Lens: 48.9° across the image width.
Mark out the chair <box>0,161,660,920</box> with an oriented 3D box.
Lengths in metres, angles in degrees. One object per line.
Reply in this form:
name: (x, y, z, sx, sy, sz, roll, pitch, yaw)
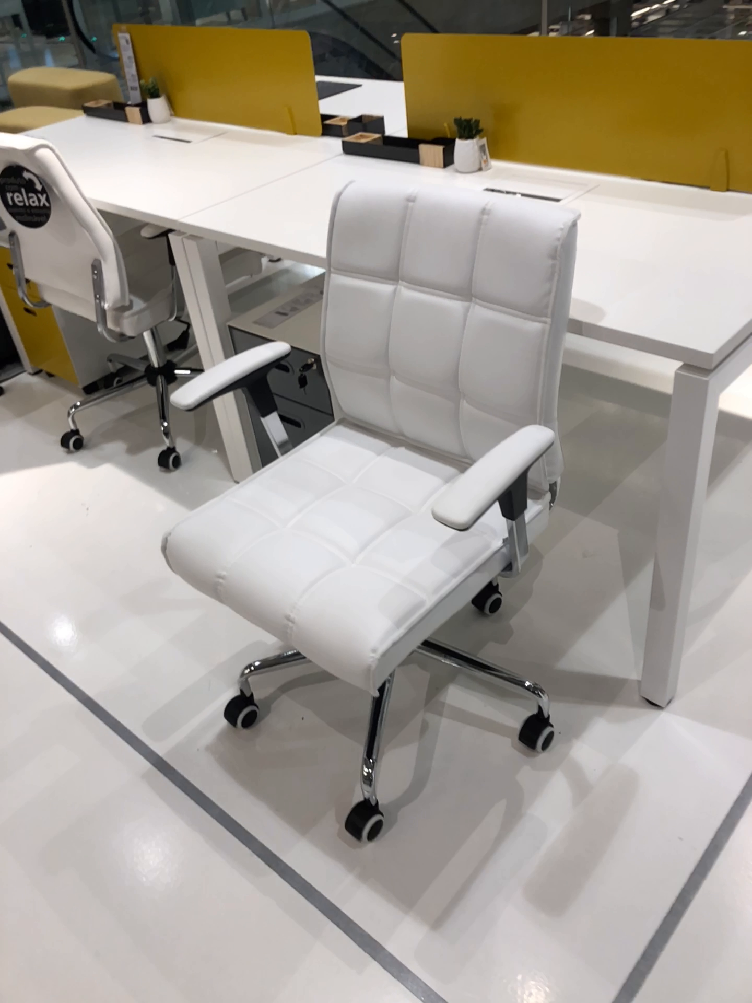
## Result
chair: (-0.022, 0.018, 1.360, 0.652, 0.883, 0.633, 22, 46, 34)
